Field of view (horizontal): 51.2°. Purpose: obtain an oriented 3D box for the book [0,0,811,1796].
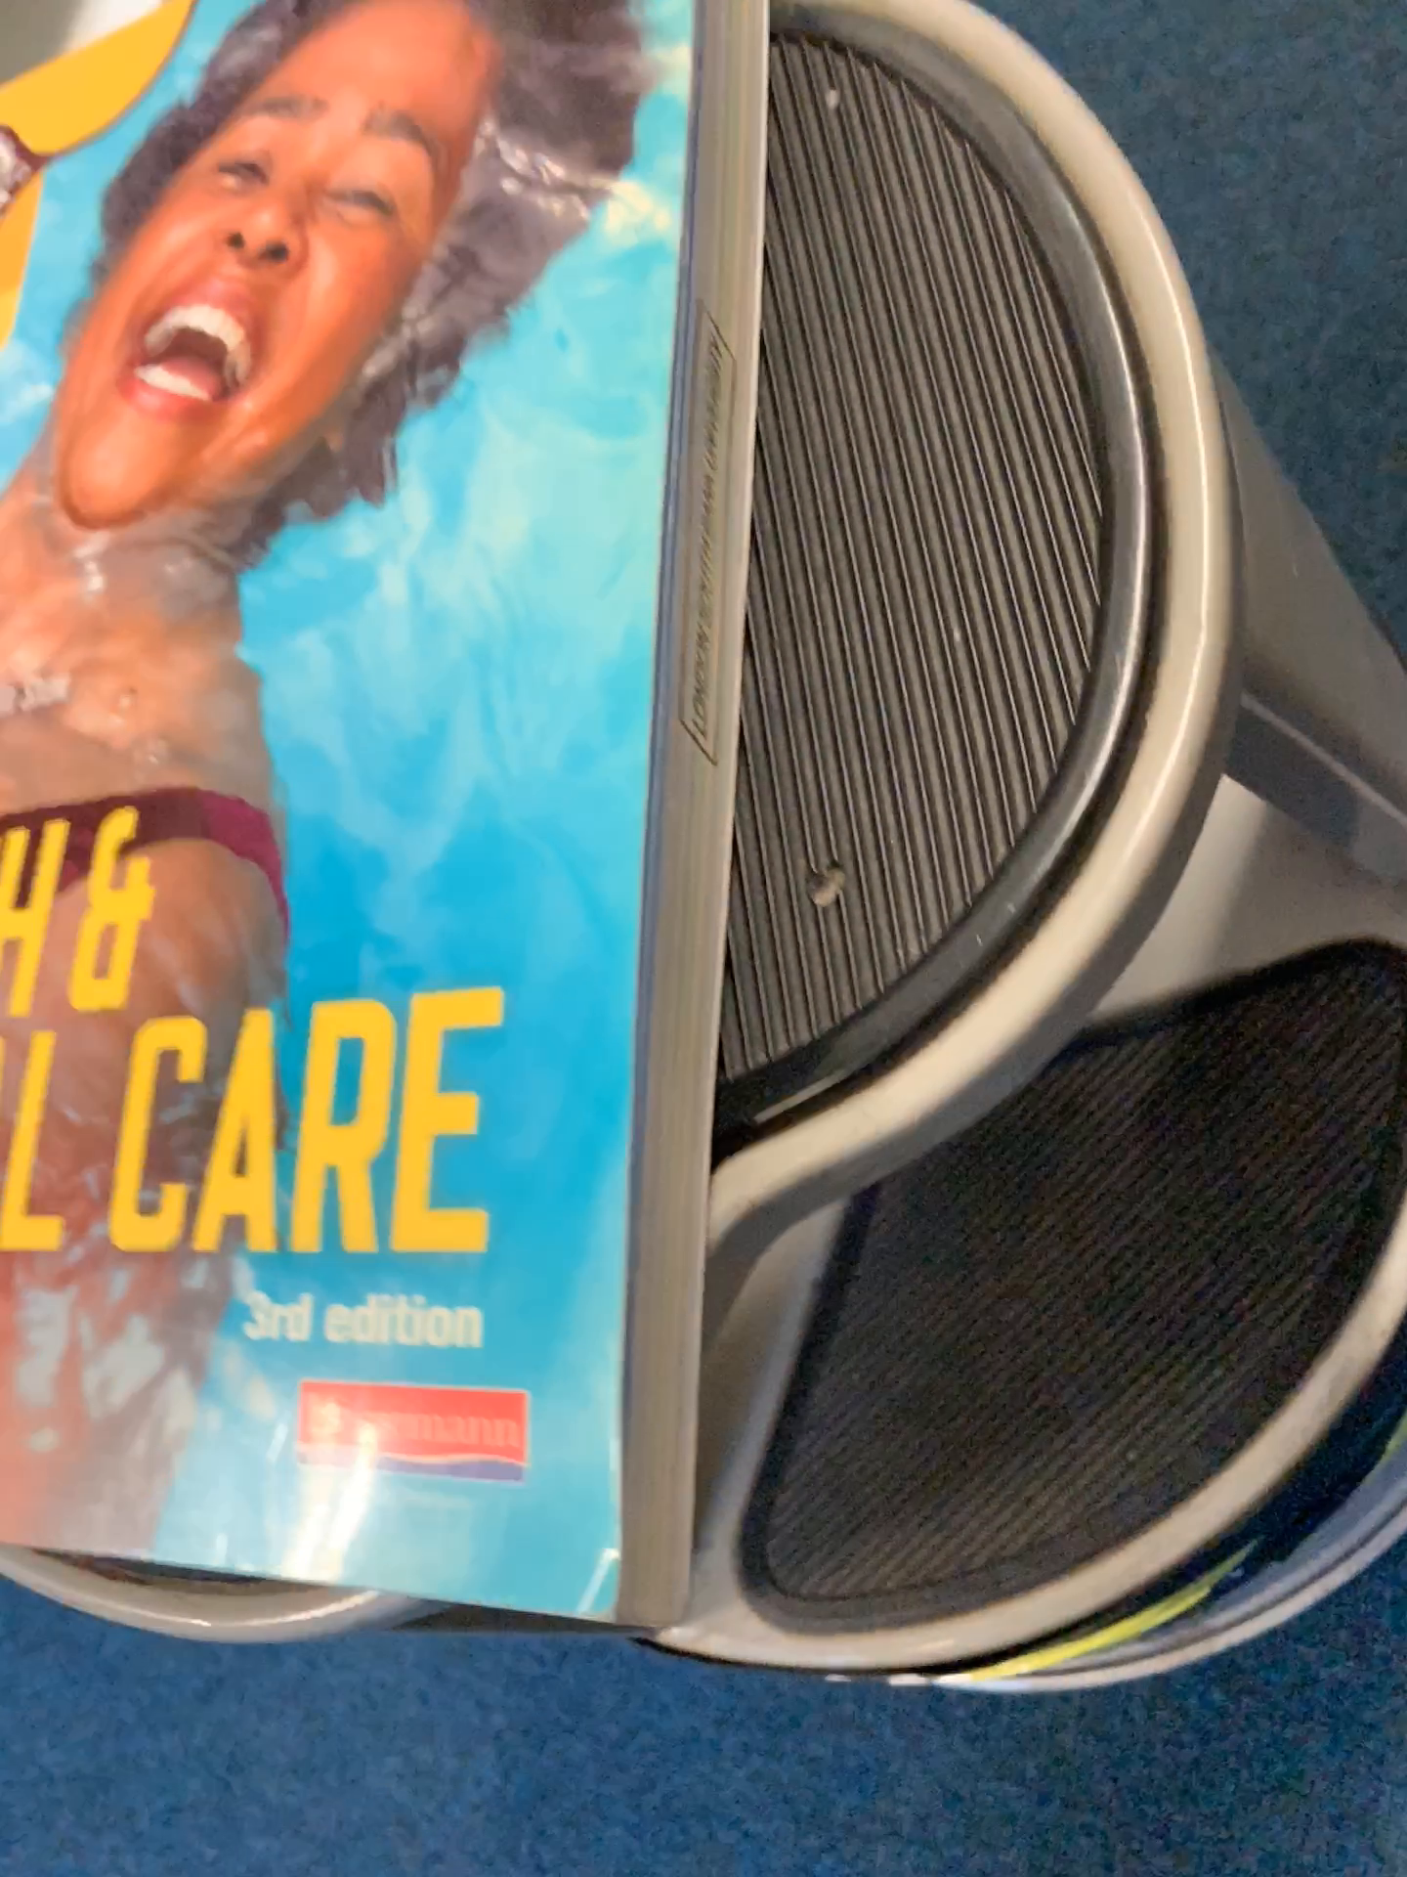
[{"bbox_3d":[-0.085,-0.041,0.227,0.201,0.030,0.271,-6,71,27],"label":"book"}]
